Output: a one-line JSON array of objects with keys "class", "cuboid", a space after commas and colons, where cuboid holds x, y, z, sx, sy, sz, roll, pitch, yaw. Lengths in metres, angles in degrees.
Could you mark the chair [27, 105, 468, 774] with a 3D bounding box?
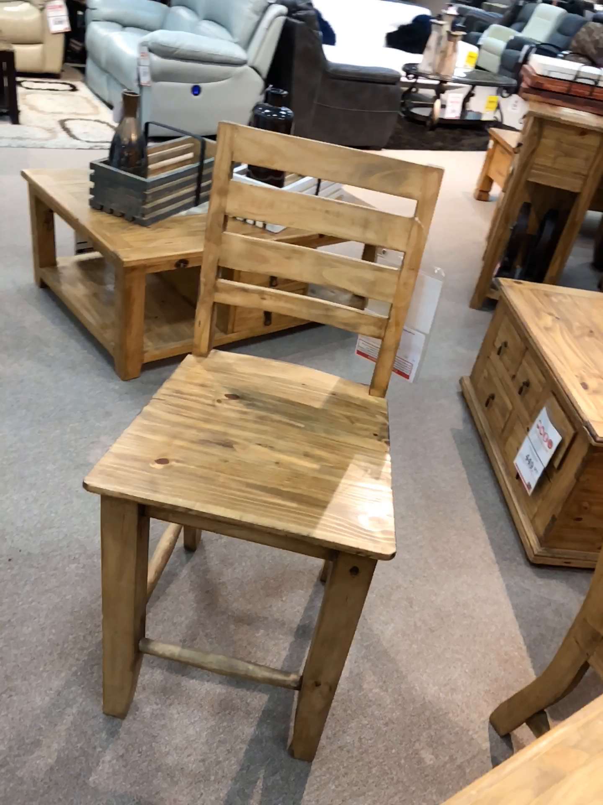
[{"class": "chair", "cuboid": [-0.092, 0.097, 1.183, 0.470, 1.013, 0.524, 12, 34, 3]}]
